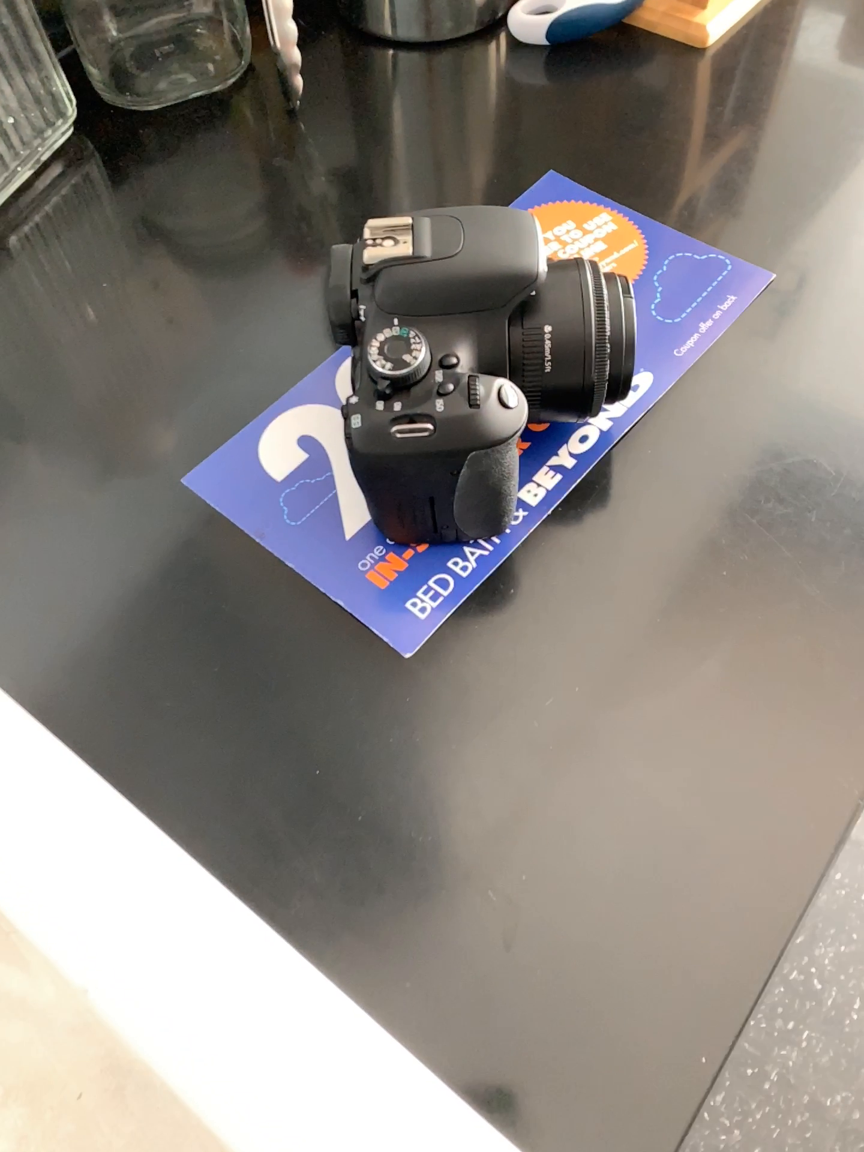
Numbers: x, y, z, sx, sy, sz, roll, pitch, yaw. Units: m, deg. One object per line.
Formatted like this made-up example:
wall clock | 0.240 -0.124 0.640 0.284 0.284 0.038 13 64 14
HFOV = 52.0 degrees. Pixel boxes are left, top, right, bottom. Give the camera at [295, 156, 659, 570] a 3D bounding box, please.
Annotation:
camera | 0.015 -0.084 0.361 0.118 0.098 0.123 -4 59 3
